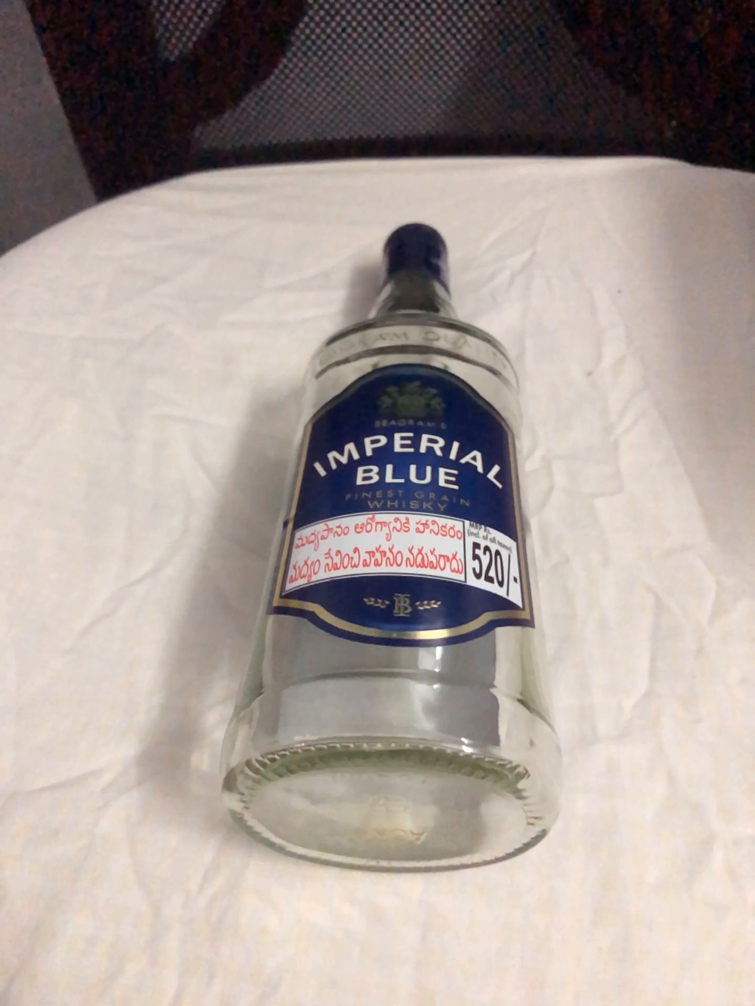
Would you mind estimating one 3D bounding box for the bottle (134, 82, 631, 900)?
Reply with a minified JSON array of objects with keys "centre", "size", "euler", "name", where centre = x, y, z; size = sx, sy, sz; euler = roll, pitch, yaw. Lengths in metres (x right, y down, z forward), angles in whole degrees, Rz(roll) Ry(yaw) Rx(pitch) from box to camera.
[{"centre":[0.009,-0.031,0.269],"size":[0.090,0.080,0.271],"euler":[1,51,3],"name":"bottle"}]
